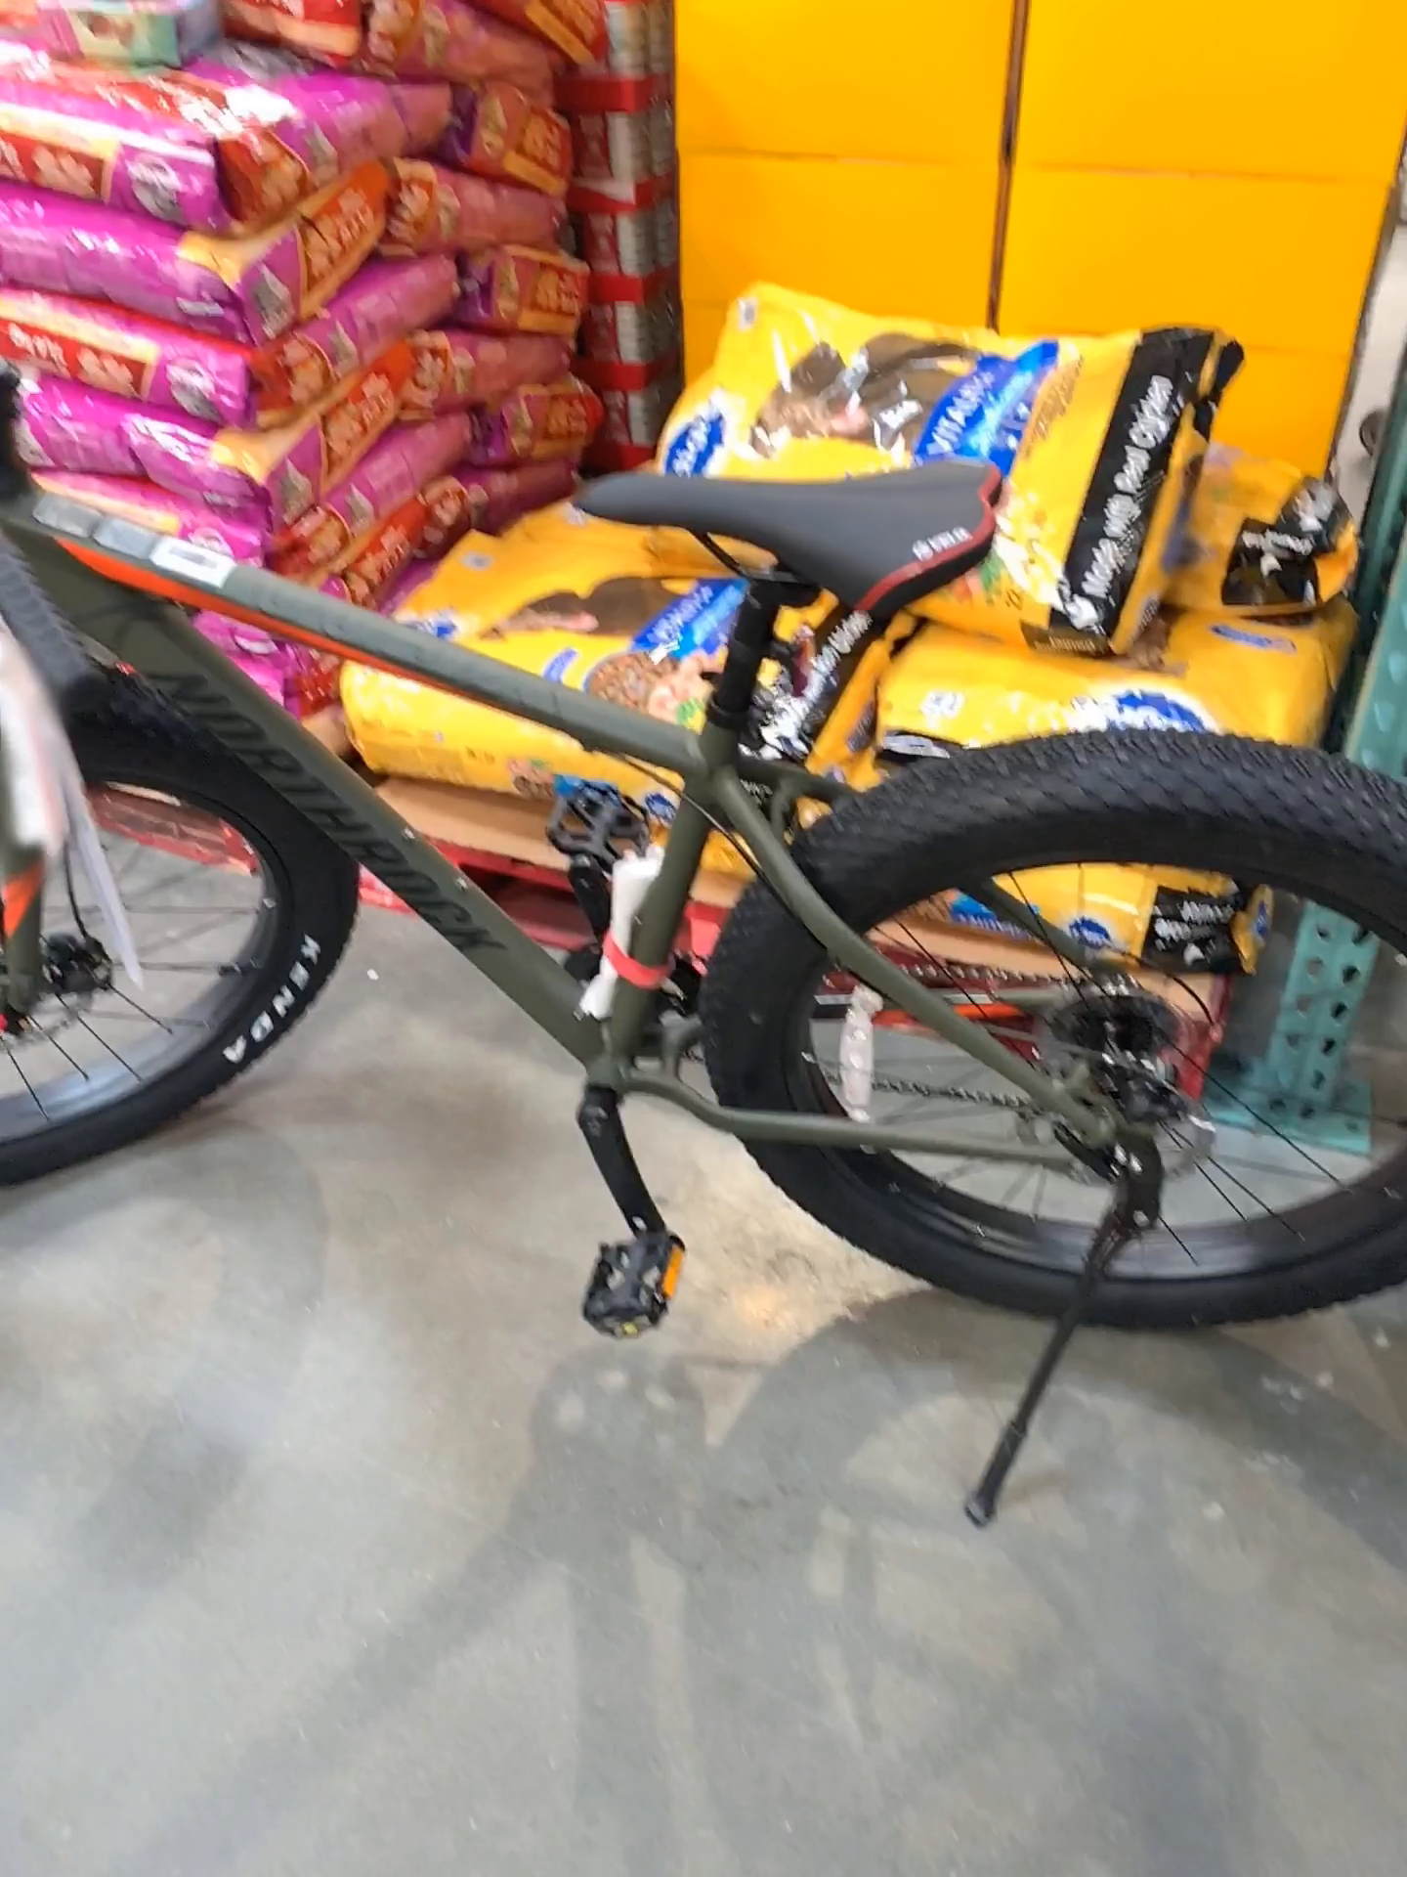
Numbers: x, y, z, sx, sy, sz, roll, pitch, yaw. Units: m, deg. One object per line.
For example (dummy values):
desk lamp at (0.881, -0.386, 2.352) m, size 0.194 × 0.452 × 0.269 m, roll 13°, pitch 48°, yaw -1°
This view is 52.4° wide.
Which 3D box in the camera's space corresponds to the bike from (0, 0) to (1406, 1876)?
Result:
bike at (-0.076, 0.051, 0.885) m, size 1.712 × 1.203 × 0.595 m, roll 1°, pitch 35°, yaw -10°
